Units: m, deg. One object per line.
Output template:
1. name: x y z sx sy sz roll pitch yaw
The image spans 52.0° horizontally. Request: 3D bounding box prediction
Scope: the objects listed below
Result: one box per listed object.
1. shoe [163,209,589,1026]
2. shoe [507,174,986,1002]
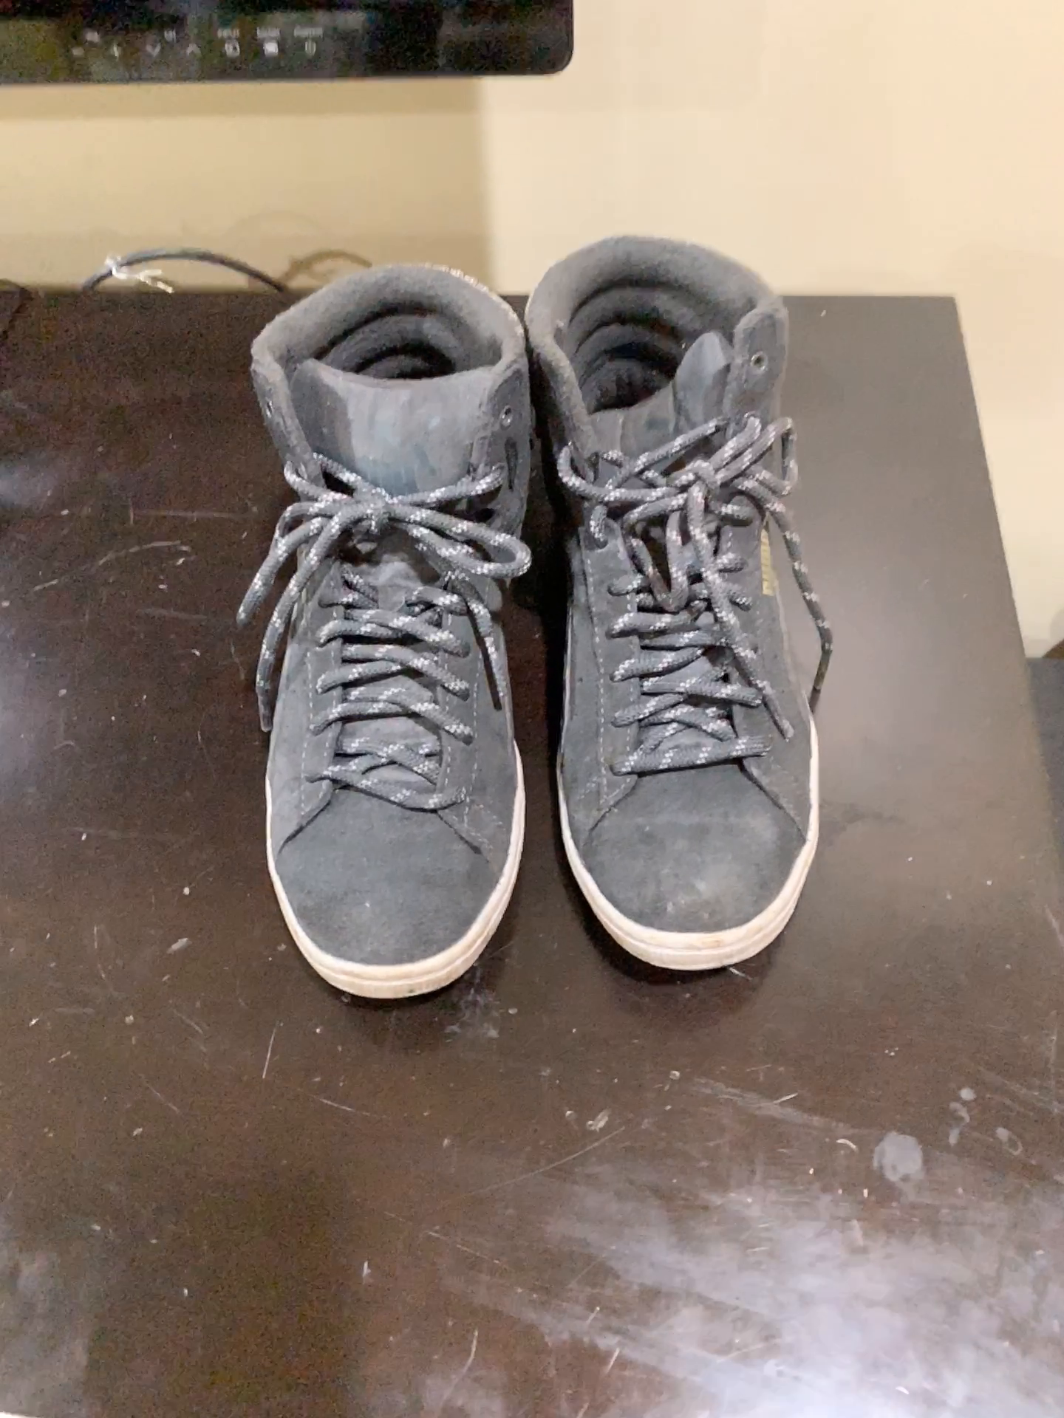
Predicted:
1. shoe: -0.044 -0.042 0.374 0.100 0.107 0.262 -5 57 0
2. shoe: 0.051 -0.048 0.373 0.097 0.125 0.254 -5 57 0
